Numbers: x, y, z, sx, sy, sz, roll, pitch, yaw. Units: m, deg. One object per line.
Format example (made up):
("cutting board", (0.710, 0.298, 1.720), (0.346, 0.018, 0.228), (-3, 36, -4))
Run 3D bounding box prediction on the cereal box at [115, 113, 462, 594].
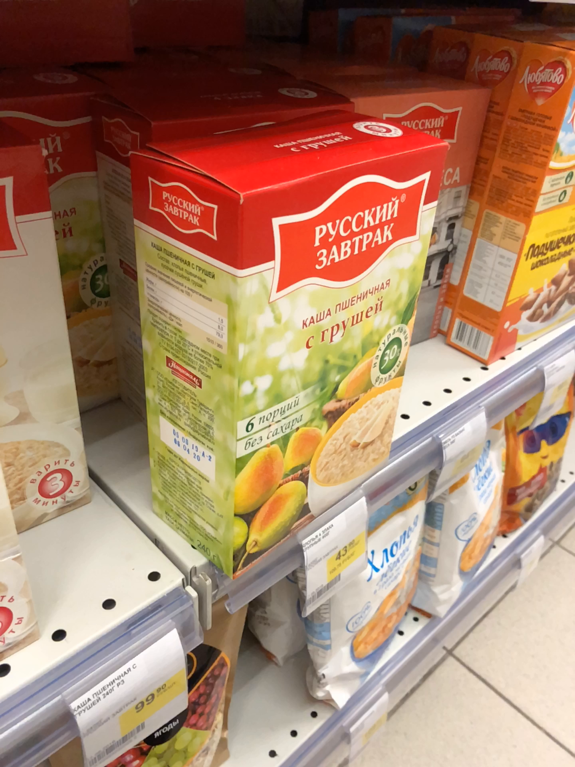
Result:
("cereal box", (0.002, -0.018, 0.309), (0.060, 0.189, 0.141), (30, 41, 34))
